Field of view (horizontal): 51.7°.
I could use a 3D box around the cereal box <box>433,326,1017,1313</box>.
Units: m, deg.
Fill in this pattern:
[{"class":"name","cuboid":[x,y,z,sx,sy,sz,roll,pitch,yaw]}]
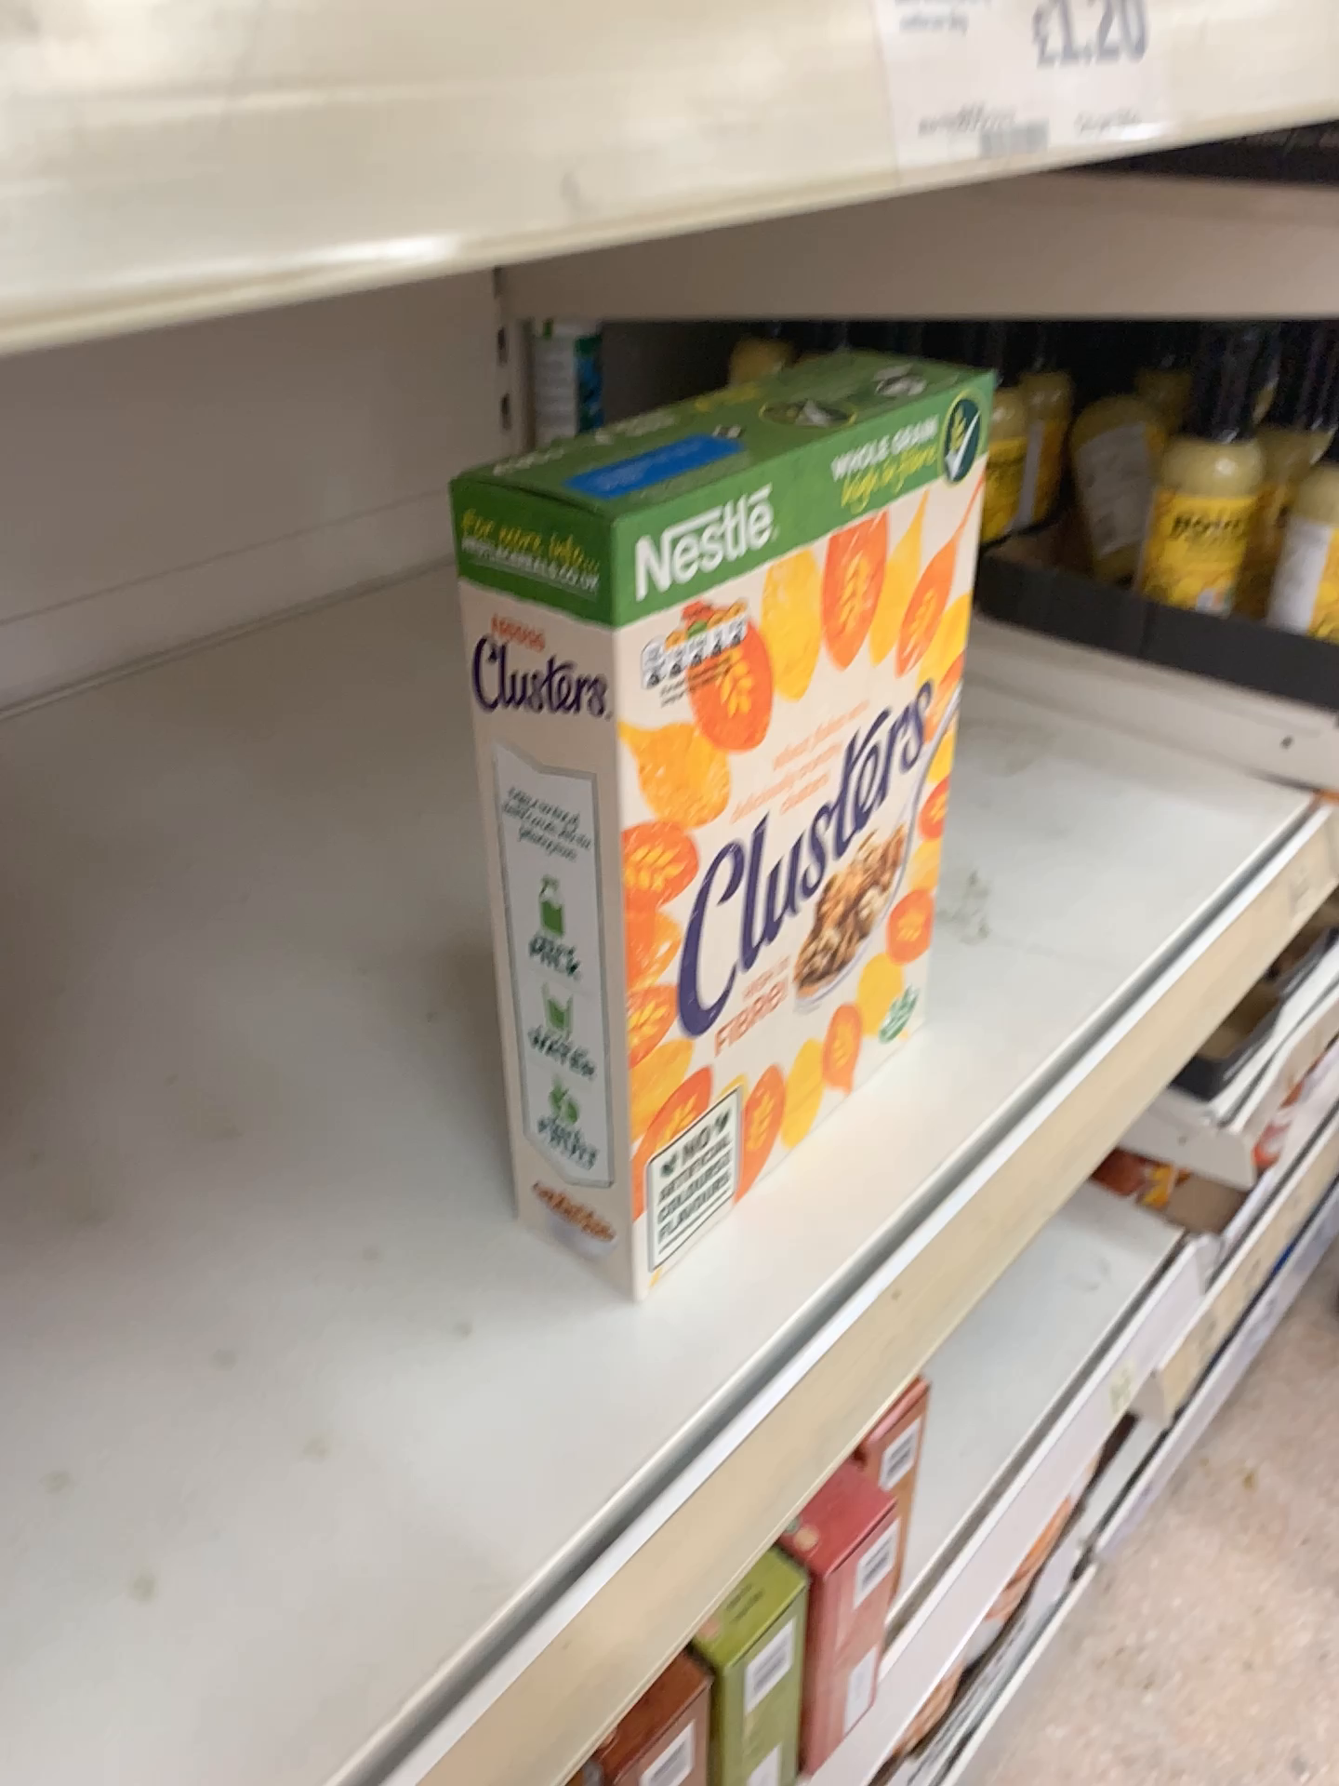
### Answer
[{"class":"cereal box","cuboid":[0.028,-0.029,0.465,0.060,0.267,0.201,22,39,32]}]
